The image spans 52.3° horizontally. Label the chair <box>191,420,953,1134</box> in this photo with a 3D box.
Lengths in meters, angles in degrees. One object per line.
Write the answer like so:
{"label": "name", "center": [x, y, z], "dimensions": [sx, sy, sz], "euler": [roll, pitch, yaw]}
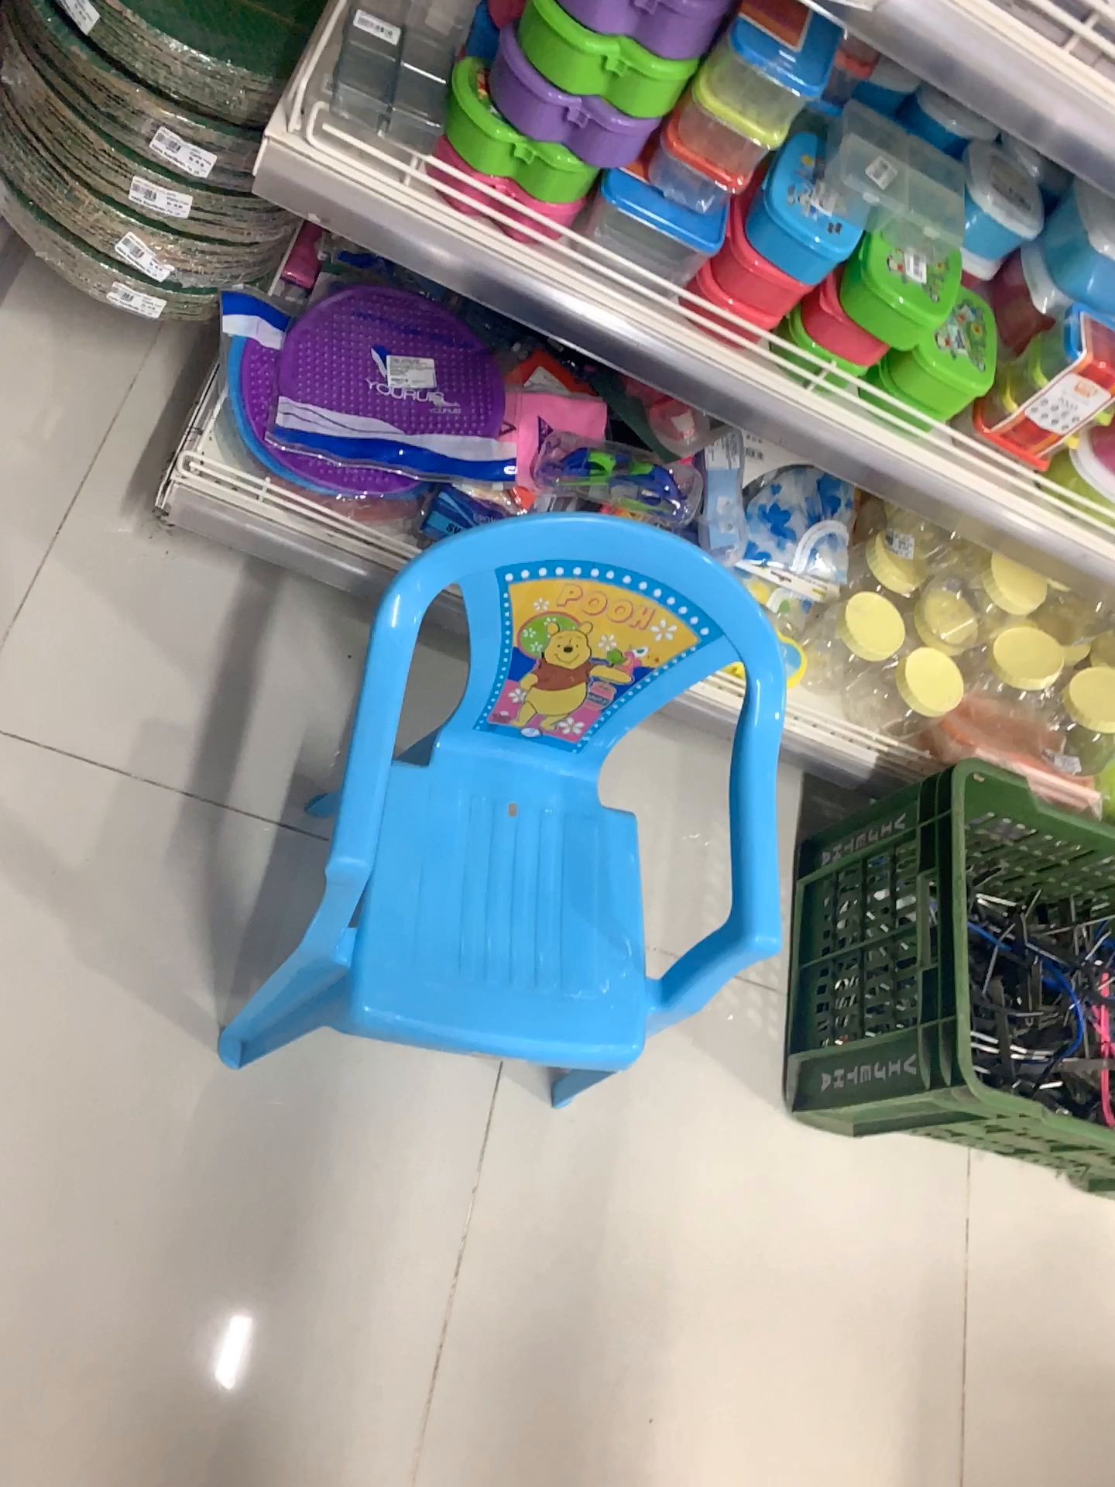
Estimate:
{"label": "chair", "center": [-0.030, 0.093, 0.907], "dimensions": [0.391, 0.509, 0.350], "euler": [13, 64, -20]}
